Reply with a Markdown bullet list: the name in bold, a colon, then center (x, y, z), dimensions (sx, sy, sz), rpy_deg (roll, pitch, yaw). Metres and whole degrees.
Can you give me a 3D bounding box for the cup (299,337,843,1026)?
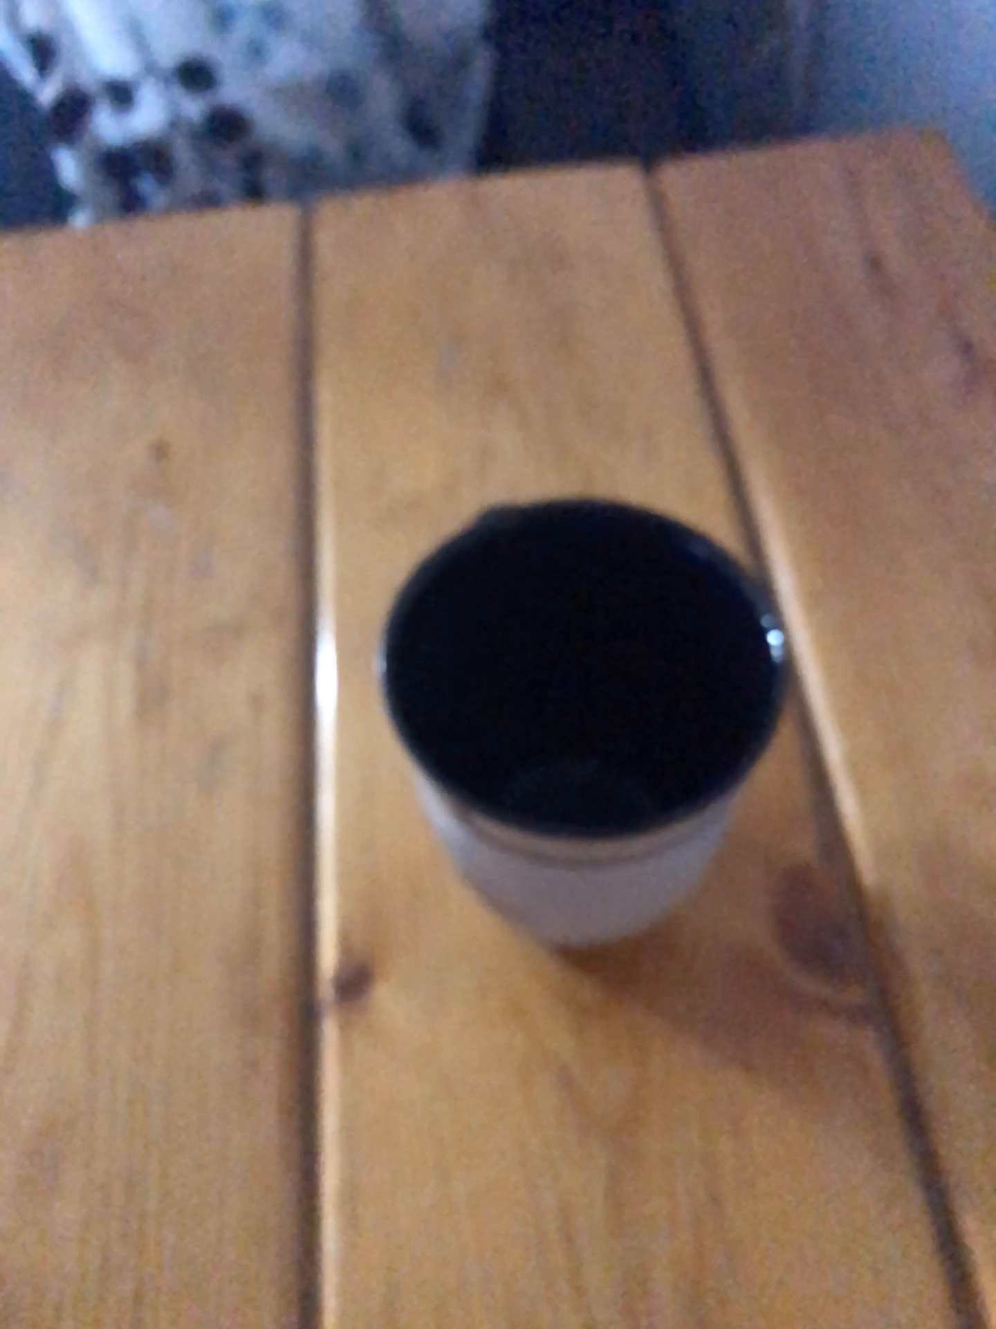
- **cup**: center (0.013, 0.005, 0.315), dimensions (0.100, 0.100, 0.140), rpy_deg (-12, 56, -2)
